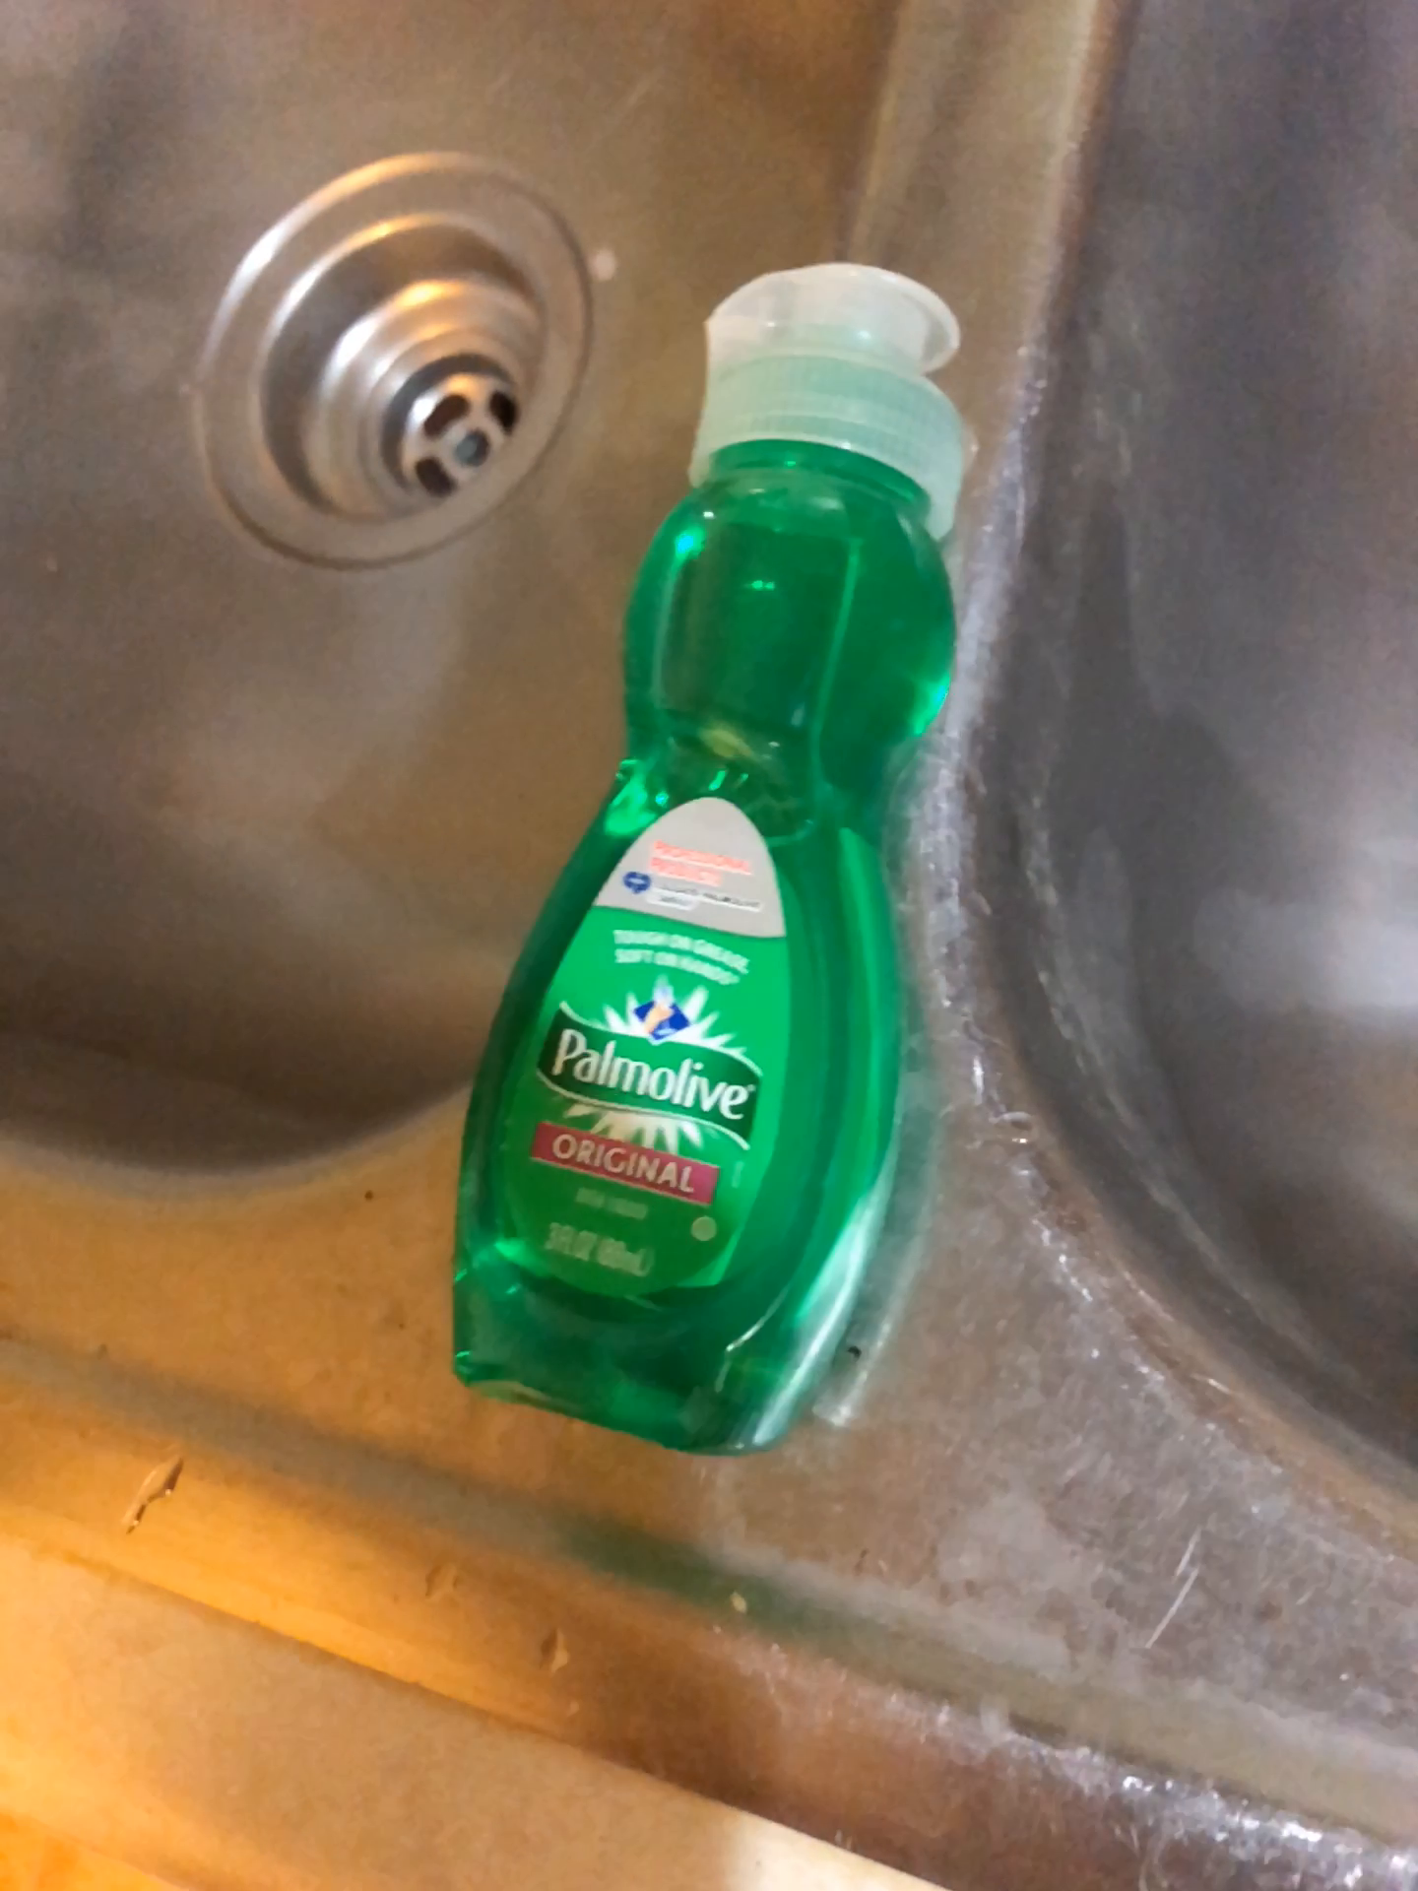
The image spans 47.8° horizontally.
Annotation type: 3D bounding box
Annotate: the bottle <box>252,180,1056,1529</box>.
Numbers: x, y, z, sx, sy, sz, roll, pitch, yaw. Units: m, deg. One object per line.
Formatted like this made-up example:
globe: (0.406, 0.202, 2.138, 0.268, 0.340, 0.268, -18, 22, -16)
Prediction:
bottle: (-0.002, -0.013, 0.169, 0.050, 0.030, 0.130, 9, 80, 21)
